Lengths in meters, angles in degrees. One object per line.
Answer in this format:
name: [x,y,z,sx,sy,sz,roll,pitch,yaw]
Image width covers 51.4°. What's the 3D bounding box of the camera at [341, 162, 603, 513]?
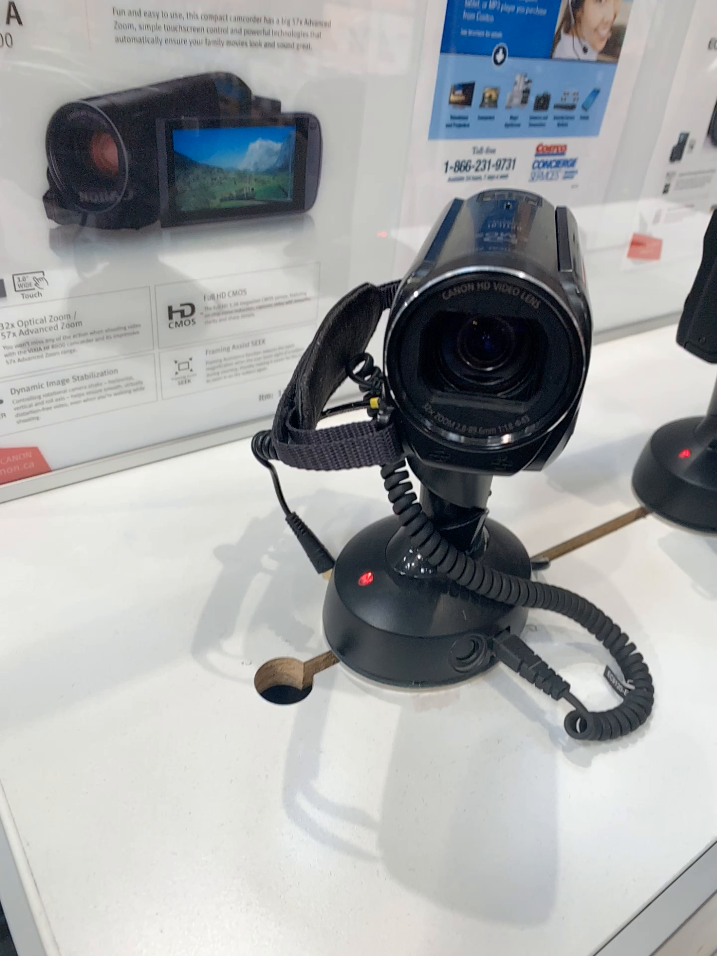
camera: [0.036,-0.051,0.217,0.050,0.050,0.126,12,34,8]
